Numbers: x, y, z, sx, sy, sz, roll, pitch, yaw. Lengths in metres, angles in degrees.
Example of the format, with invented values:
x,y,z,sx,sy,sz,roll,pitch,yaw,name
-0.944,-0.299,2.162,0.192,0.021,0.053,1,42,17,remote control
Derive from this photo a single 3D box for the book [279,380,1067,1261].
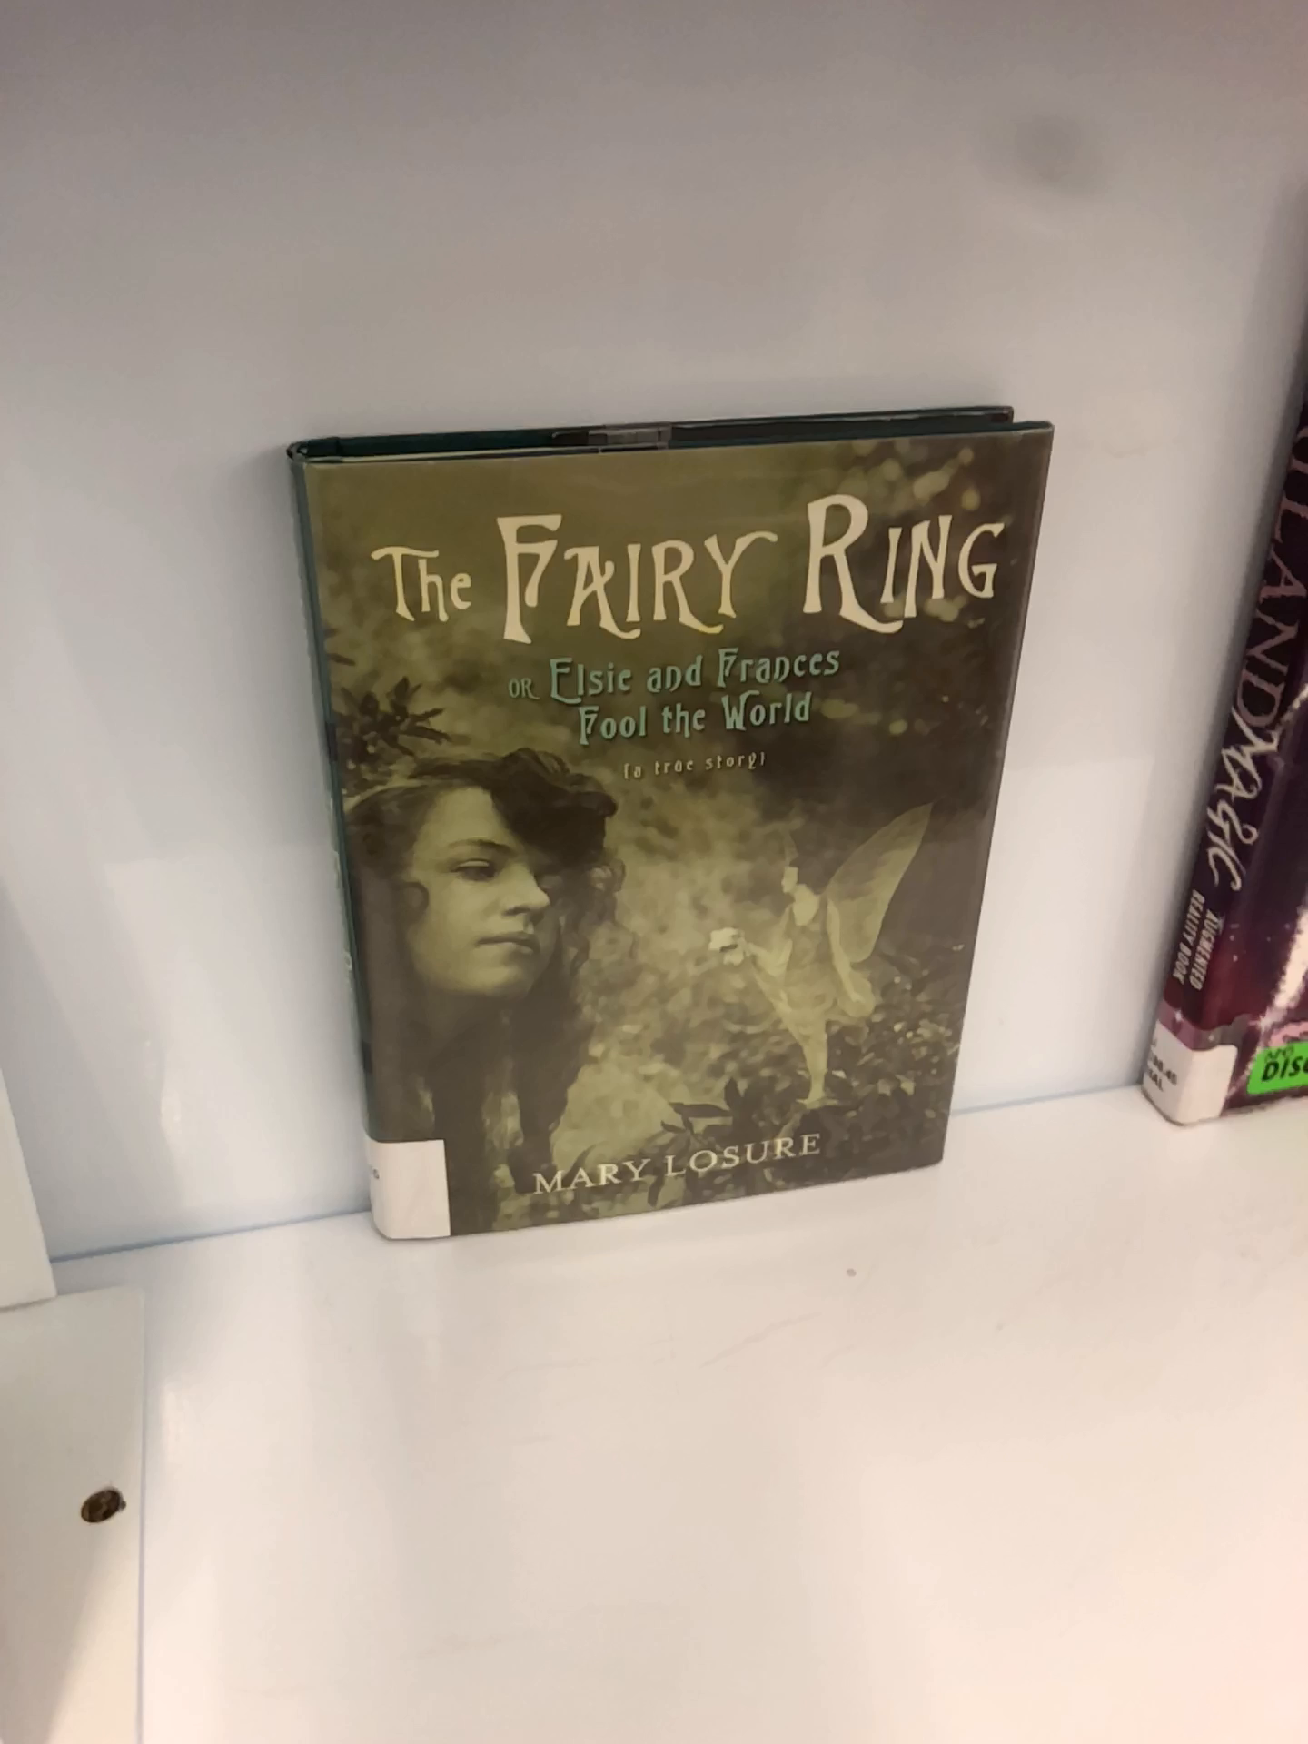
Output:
x,y,z,sx,sy,sz,roll,pitch,yaw,name
0.004,-0.006,0.326,0.150,0.190,0.028,-6,29,-12,book
